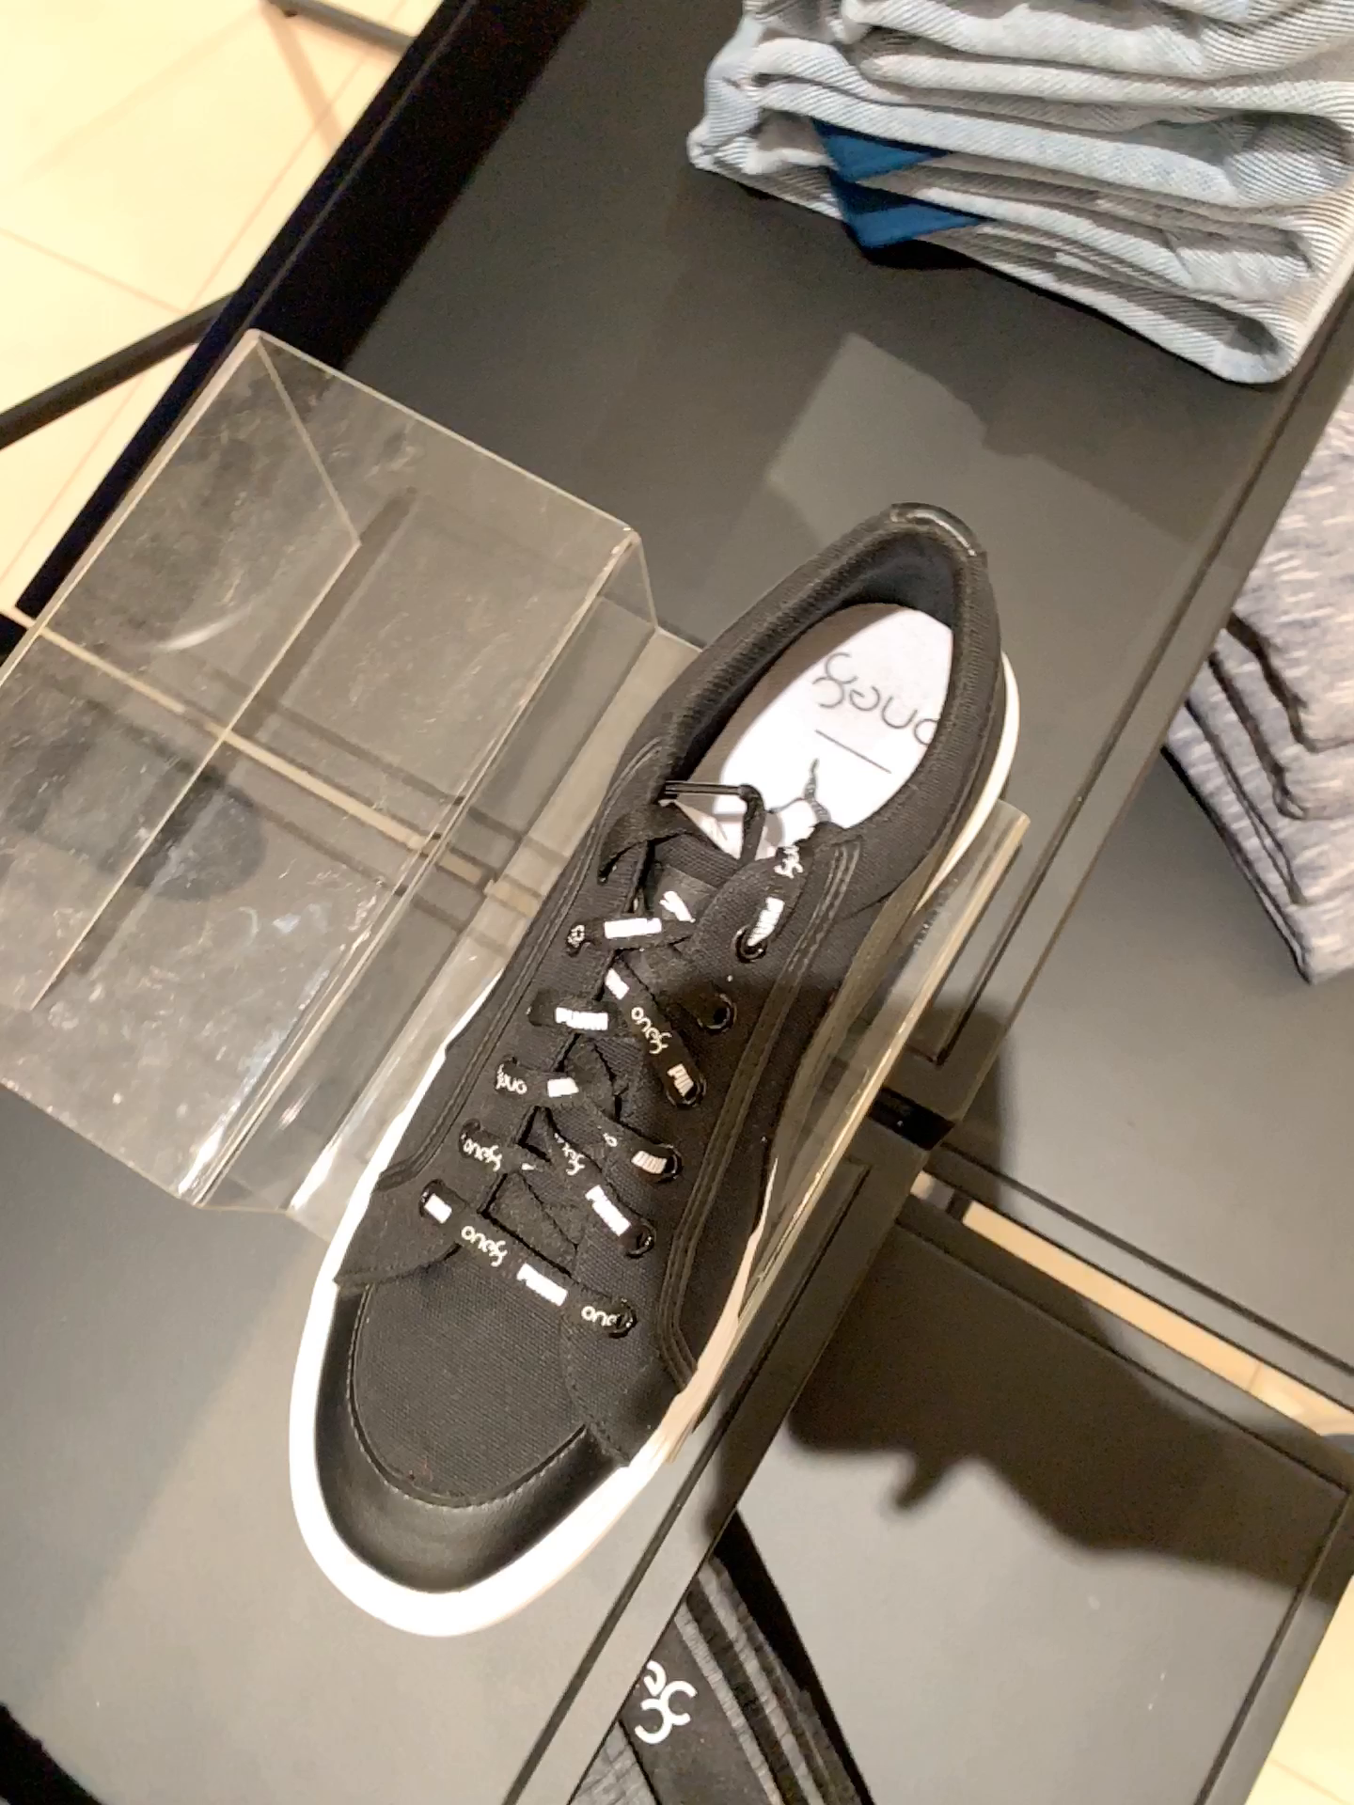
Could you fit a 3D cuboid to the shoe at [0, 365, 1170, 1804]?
[{"bbox_3d":[-0.009,0.033,0.333,0.110,0.100,0.280,29,80,13],"label":"shoe"}]
